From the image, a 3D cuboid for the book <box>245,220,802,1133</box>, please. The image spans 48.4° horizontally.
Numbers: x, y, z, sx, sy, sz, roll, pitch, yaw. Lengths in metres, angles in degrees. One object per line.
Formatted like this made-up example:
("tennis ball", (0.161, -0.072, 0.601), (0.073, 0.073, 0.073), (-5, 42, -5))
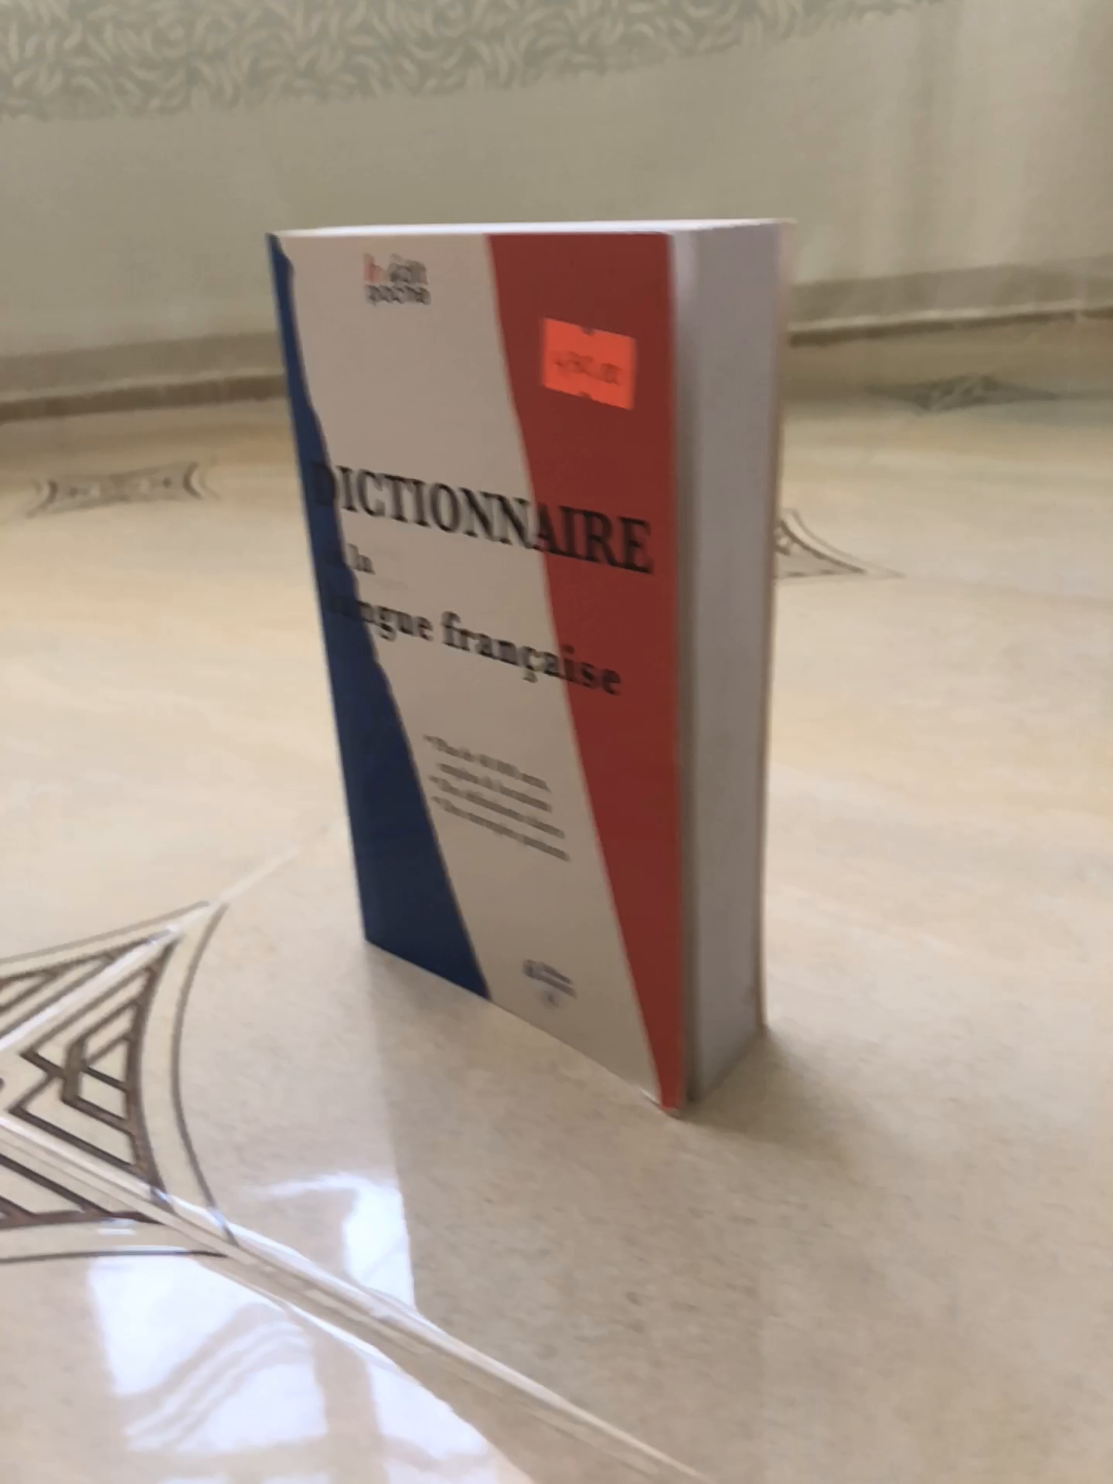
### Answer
("book", (-0.007, -0.018, 0.282), (0.121, 0.182, 0.034), (19, 33, 39))
